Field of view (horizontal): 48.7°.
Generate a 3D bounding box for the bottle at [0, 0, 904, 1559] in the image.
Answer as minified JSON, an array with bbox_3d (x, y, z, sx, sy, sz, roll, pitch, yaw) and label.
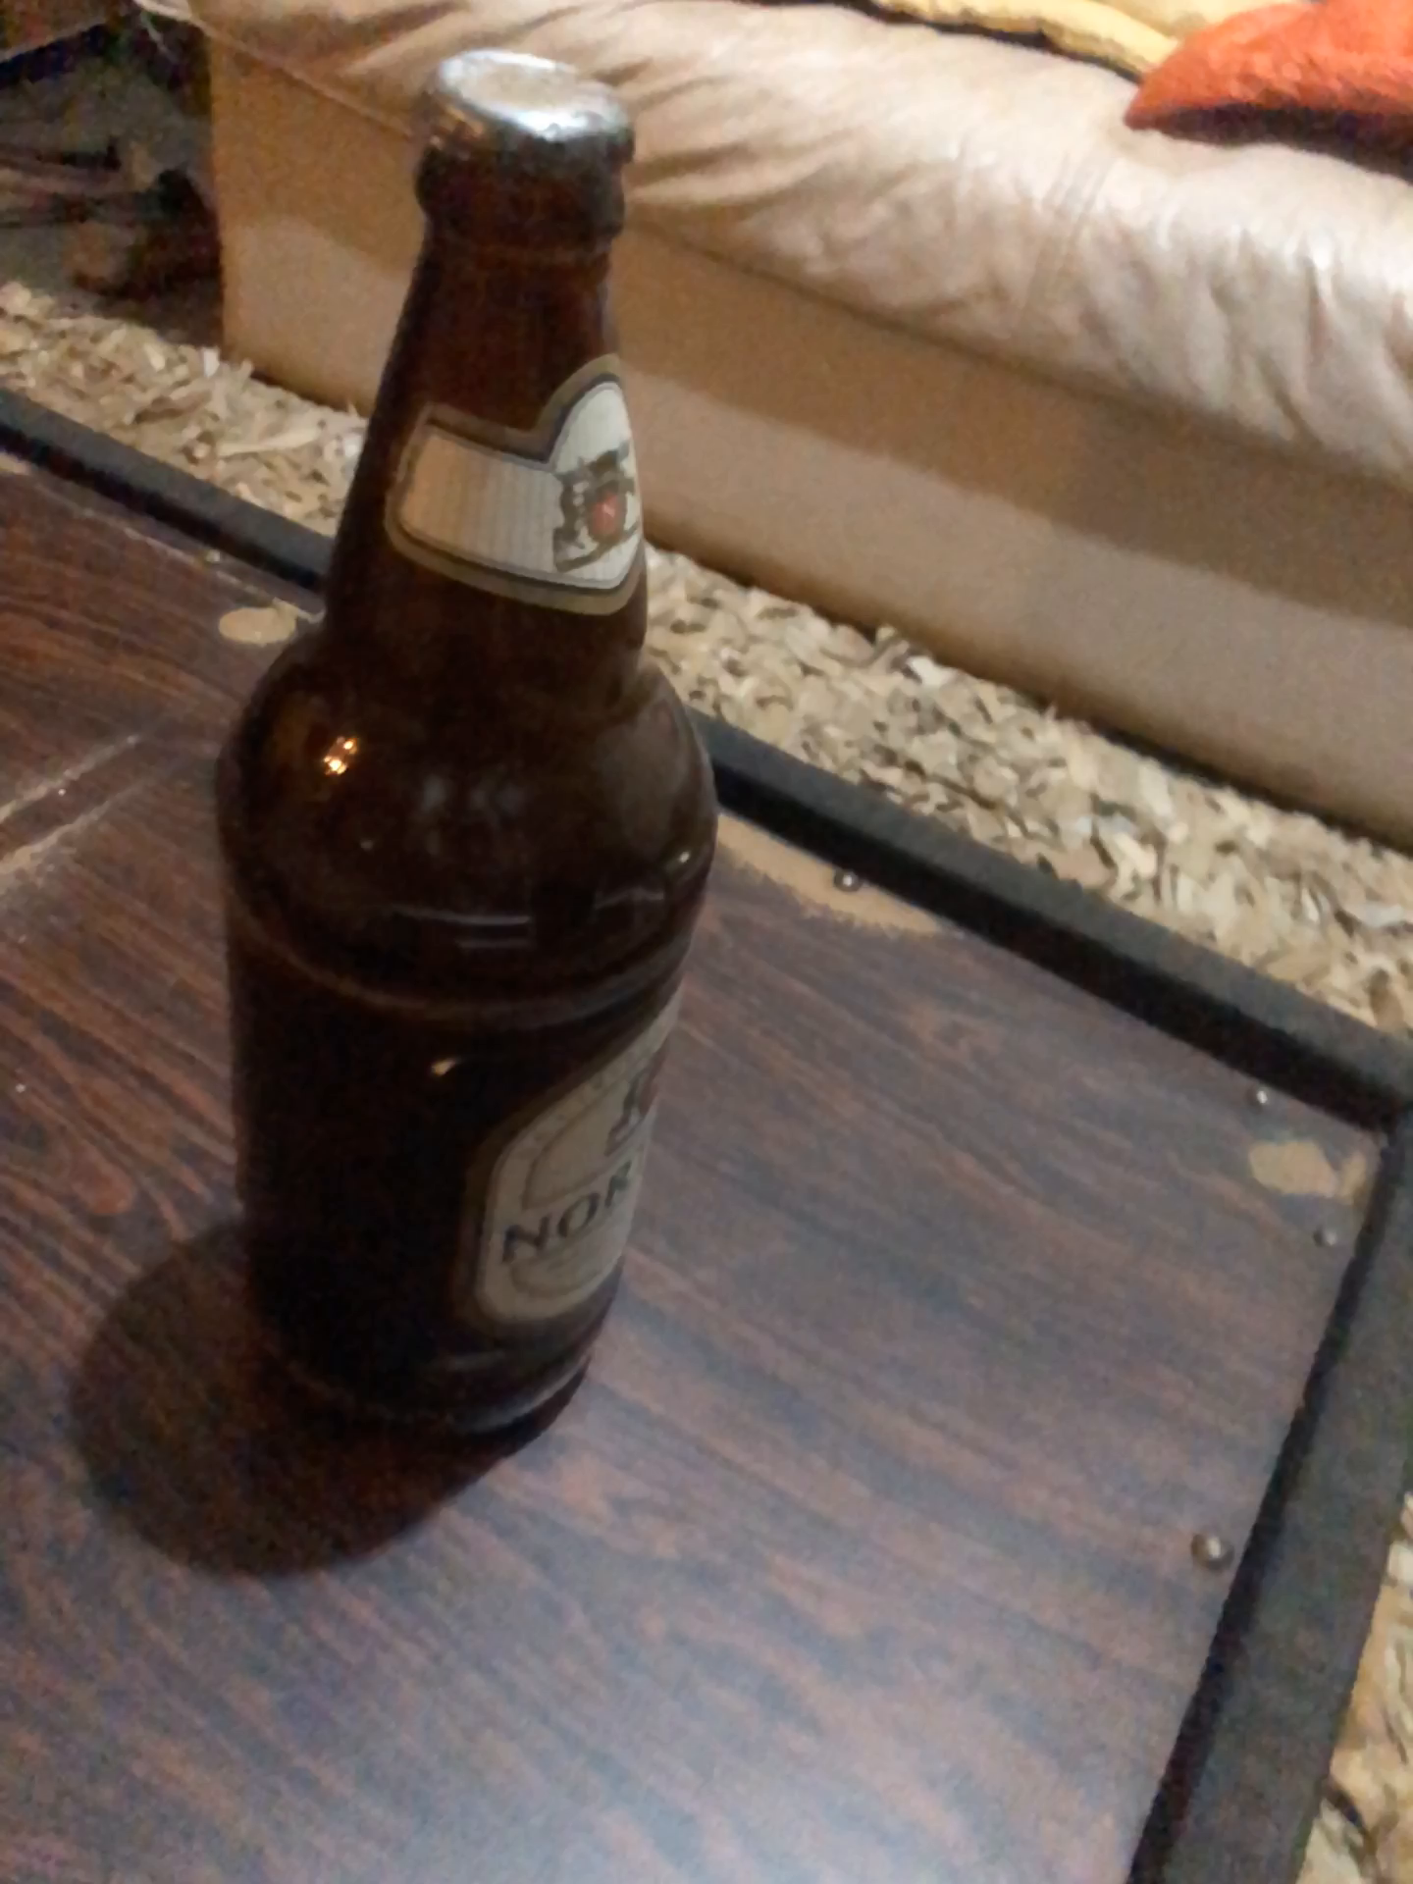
[{"bbox_3d":[-0.051,-0.012,0.289,0.100,0.268,0.101,6,42,-5],"label":"bottle"}]
